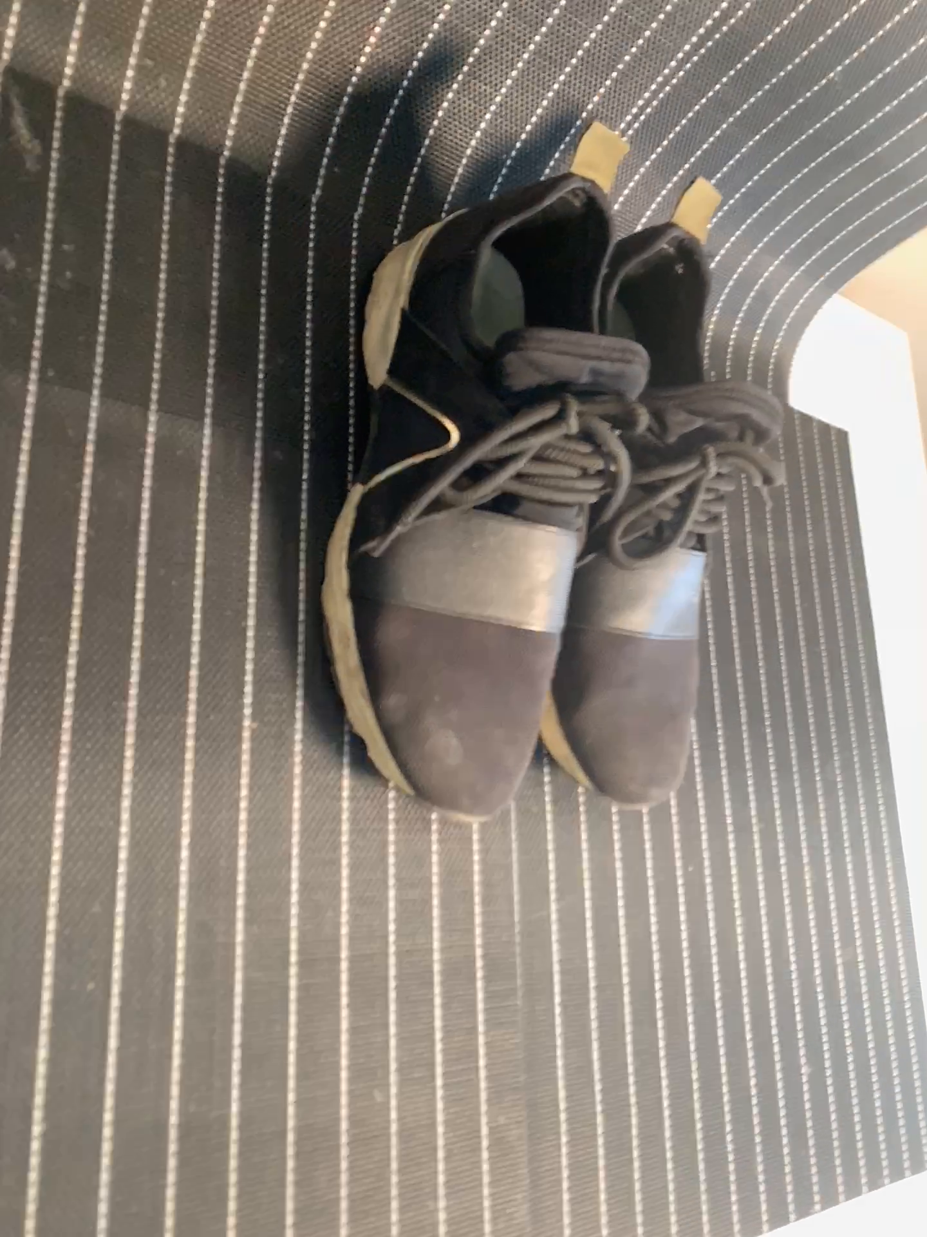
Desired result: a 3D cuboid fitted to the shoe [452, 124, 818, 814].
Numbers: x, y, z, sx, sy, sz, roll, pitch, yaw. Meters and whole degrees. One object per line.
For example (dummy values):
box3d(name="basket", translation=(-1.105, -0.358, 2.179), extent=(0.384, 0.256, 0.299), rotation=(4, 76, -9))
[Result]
box3d(name="shoe", translation=(0.072, -0.059, 0.430), extent=(0.101, 0.089, 0.280), rotation=(4, 76, -37))

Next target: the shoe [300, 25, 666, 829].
box3d(name="shoe", translation=(0.007, -0.064, 0.364), extent=(0.101, 0.080, 0.280), rotation=(11, 71, -35))
